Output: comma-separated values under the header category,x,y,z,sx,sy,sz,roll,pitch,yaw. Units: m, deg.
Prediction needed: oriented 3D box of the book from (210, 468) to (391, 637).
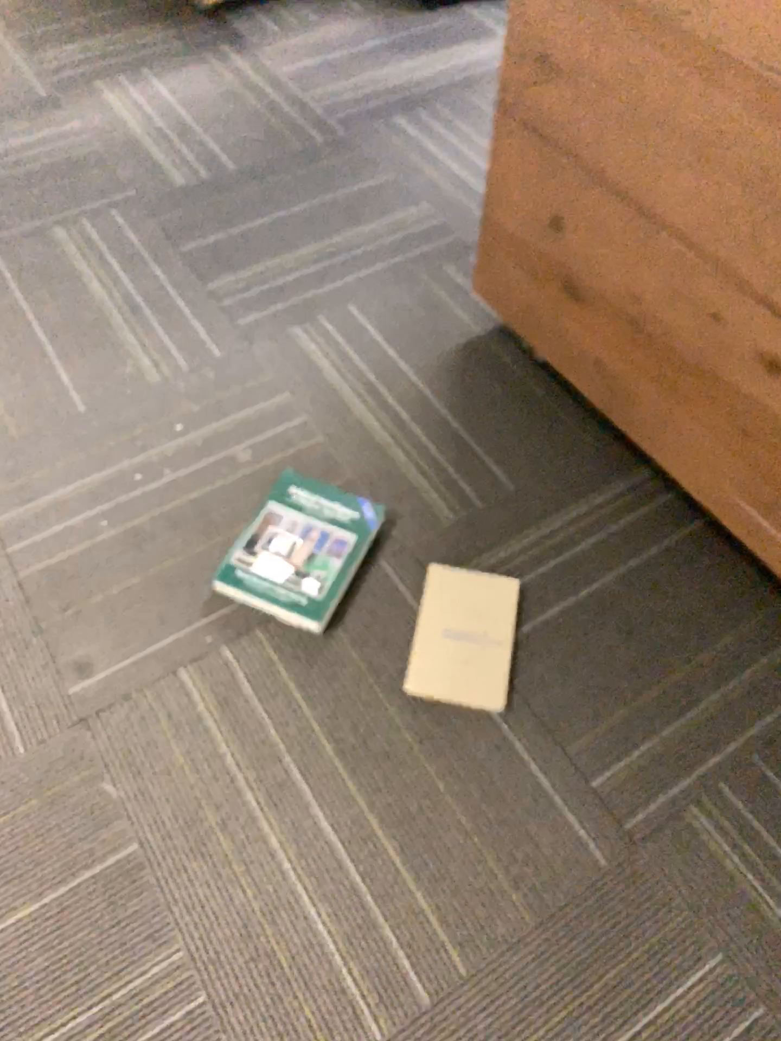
category,x,y,z,sx,sy,sz,roll,pitch,yaw
book,-0.148,0.046,1.398,0.210,0.030,0.261,20,57,13

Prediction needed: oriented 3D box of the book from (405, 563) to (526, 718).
category,x,y,z,sx,sy,sz,roll,pitch,yaw
book,0.126,0.190,1.329,0.160,0.020,0.241,10,55,6
